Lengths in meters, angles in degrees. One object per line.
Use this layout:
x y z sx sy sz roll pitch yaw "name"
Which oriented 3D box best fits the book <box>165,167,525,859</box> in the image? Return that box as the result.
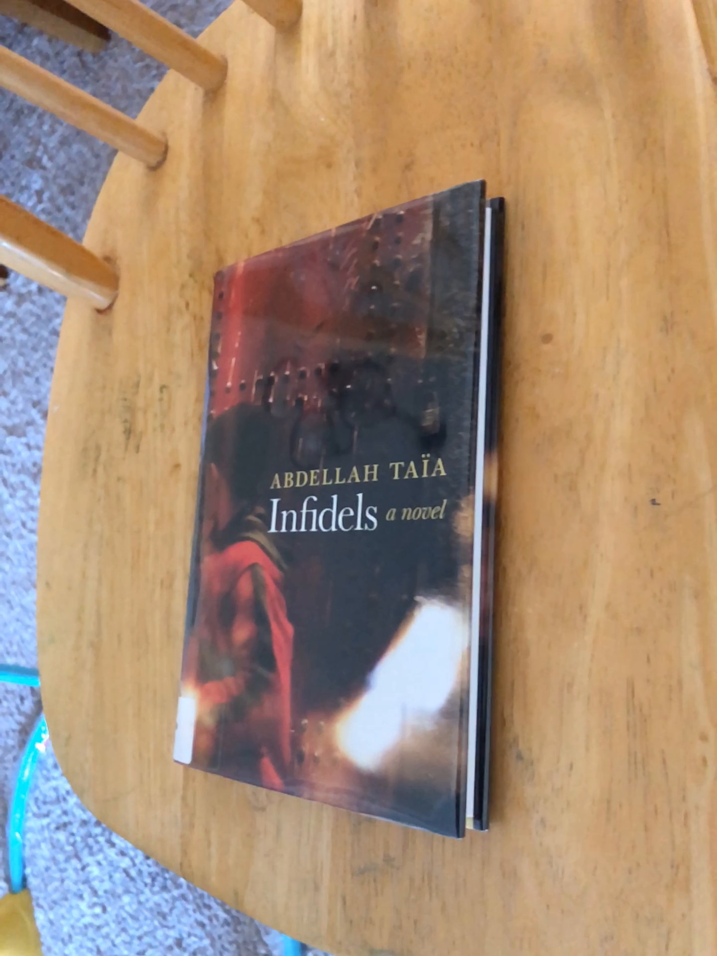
-0.010 0.009 0.303 0.143 0.020 0.216 -4 78 41 "book"
